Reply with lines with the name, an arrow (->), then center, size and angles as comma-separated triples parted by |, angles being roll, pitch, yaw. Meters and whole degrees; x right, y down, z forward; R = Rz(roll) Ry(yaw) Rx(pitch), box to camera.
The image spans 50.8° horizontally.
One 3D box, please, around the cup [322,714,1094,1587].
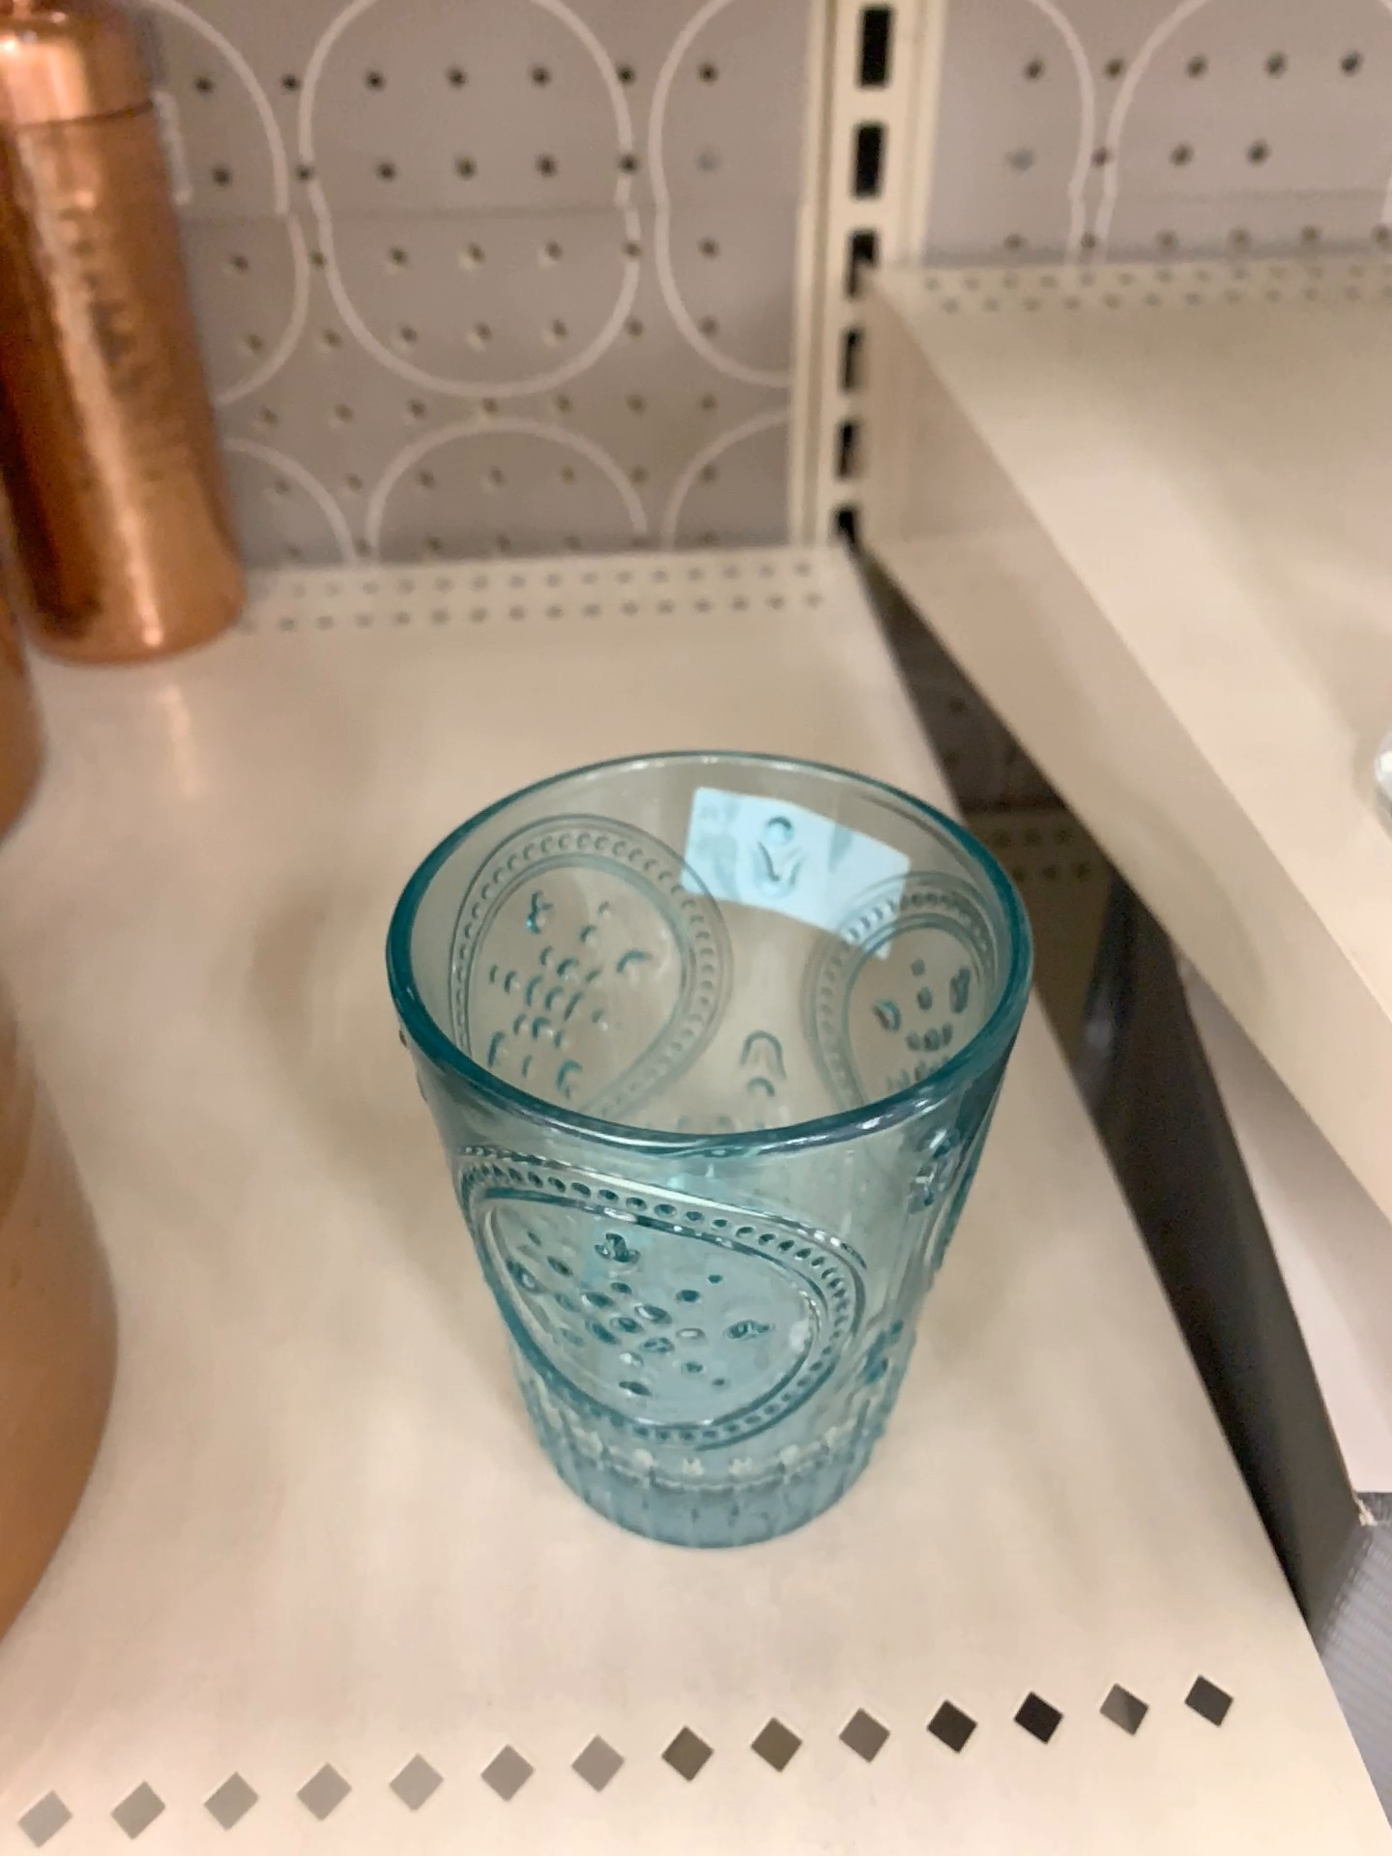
cup -> 0.000, 0.031, 0.207 | 0.078, 0.091, 0.076 | 0, 39, 0
